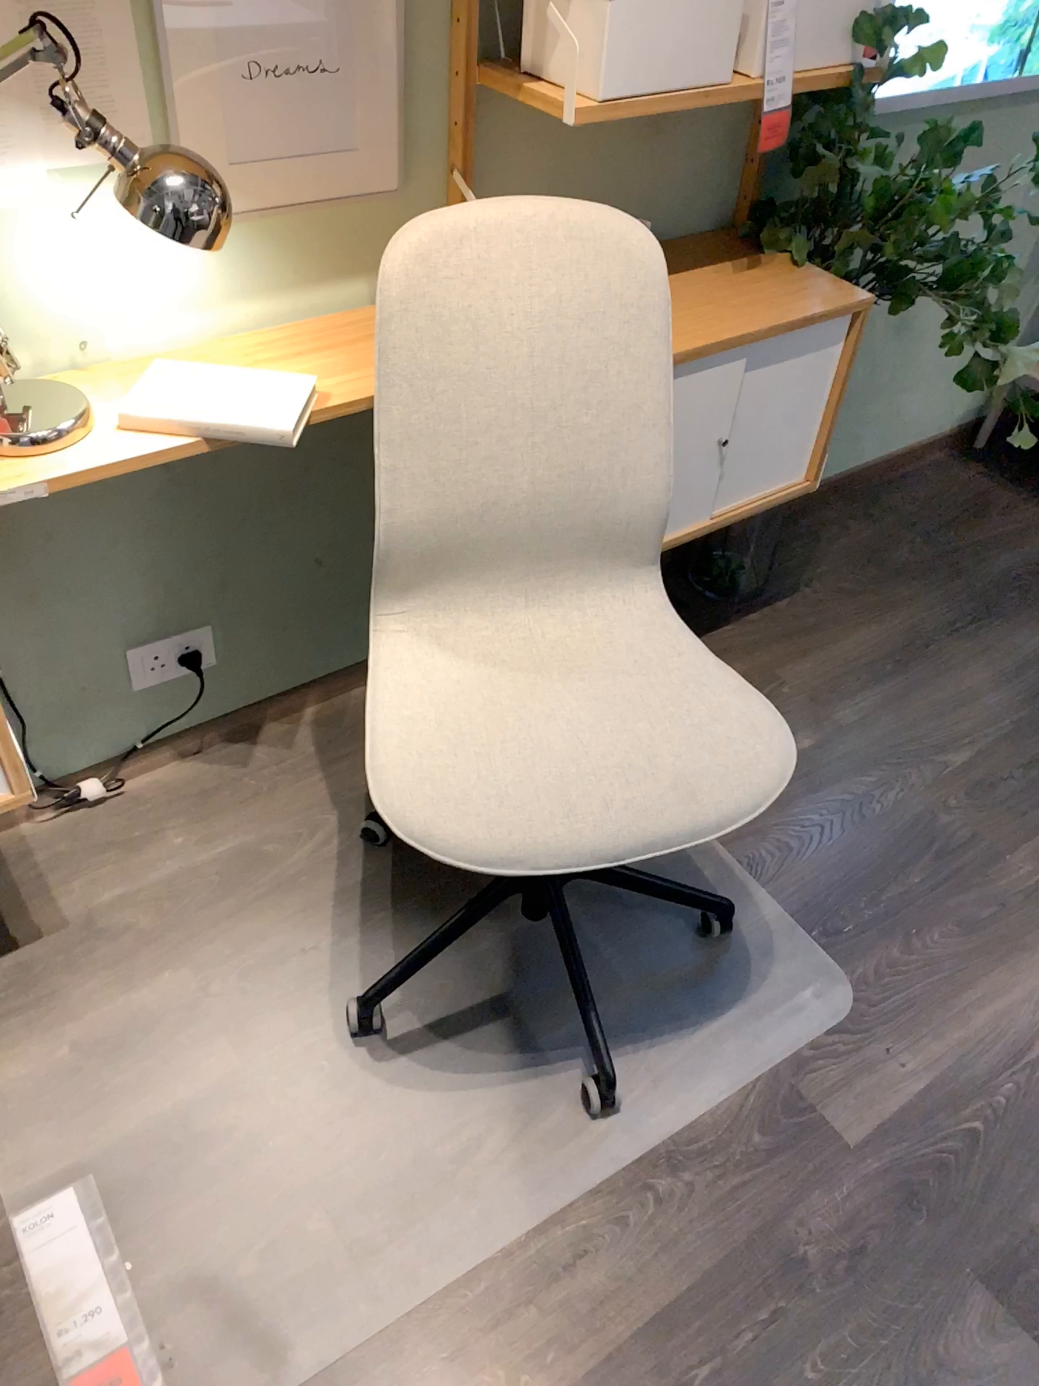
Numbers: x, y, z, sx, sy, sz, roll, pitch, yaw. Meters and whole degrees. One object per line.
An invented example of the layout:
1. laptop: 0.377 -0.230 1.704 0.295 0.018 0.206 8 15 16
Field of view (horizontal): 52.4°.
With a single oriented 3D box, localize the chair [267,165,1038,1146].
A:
1. chair: 0.078 -0.027 1.298 0.620 0.966 0.622 -7 44 -13
